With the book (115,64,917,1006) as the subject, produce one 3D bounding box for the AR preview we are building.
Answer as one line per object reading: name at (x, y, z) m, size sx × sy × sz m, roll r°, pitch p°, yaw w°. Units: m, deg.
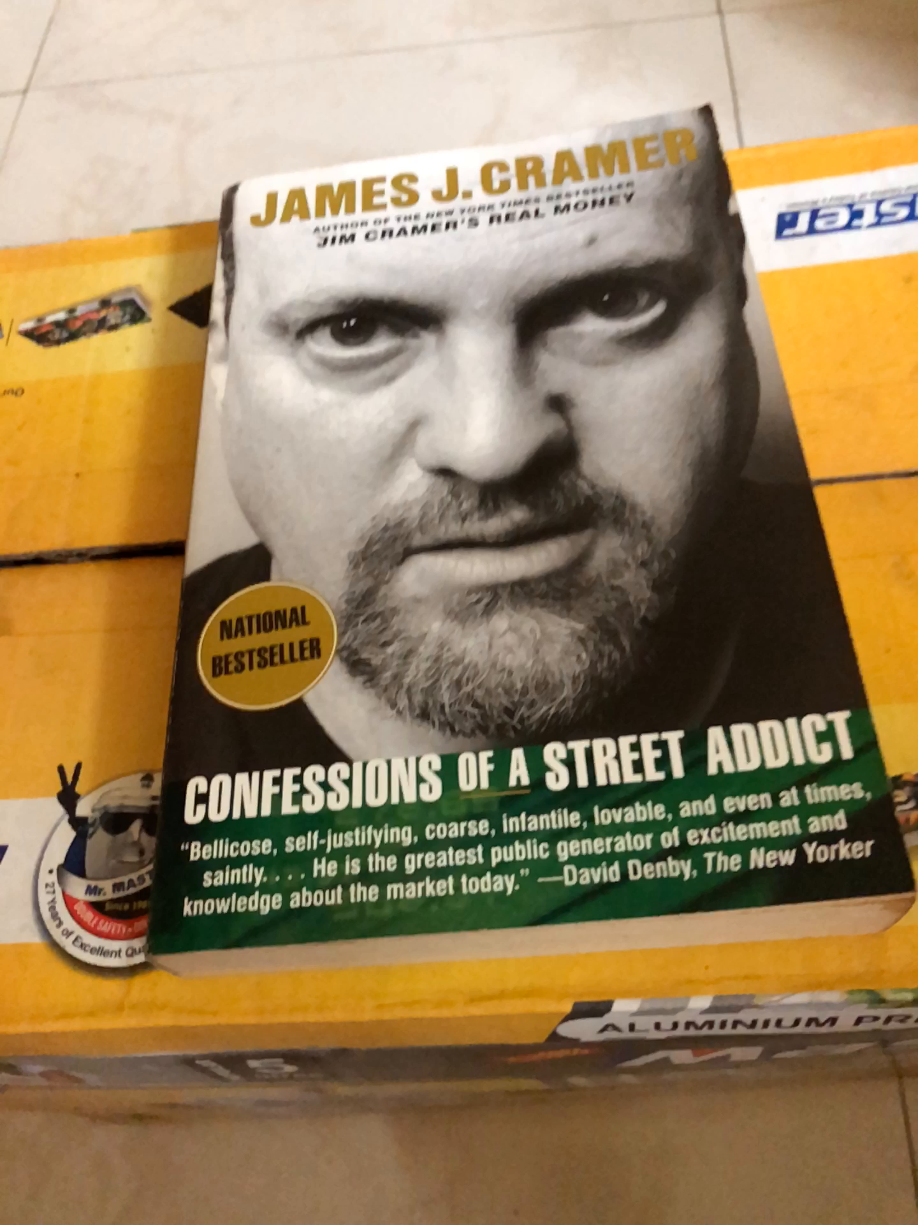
book at (0.006, -0.036, 0.244) m, size 0.140 × 0.030 × 0.230 m, roll -6°, pitch 59°, yaw 5°
